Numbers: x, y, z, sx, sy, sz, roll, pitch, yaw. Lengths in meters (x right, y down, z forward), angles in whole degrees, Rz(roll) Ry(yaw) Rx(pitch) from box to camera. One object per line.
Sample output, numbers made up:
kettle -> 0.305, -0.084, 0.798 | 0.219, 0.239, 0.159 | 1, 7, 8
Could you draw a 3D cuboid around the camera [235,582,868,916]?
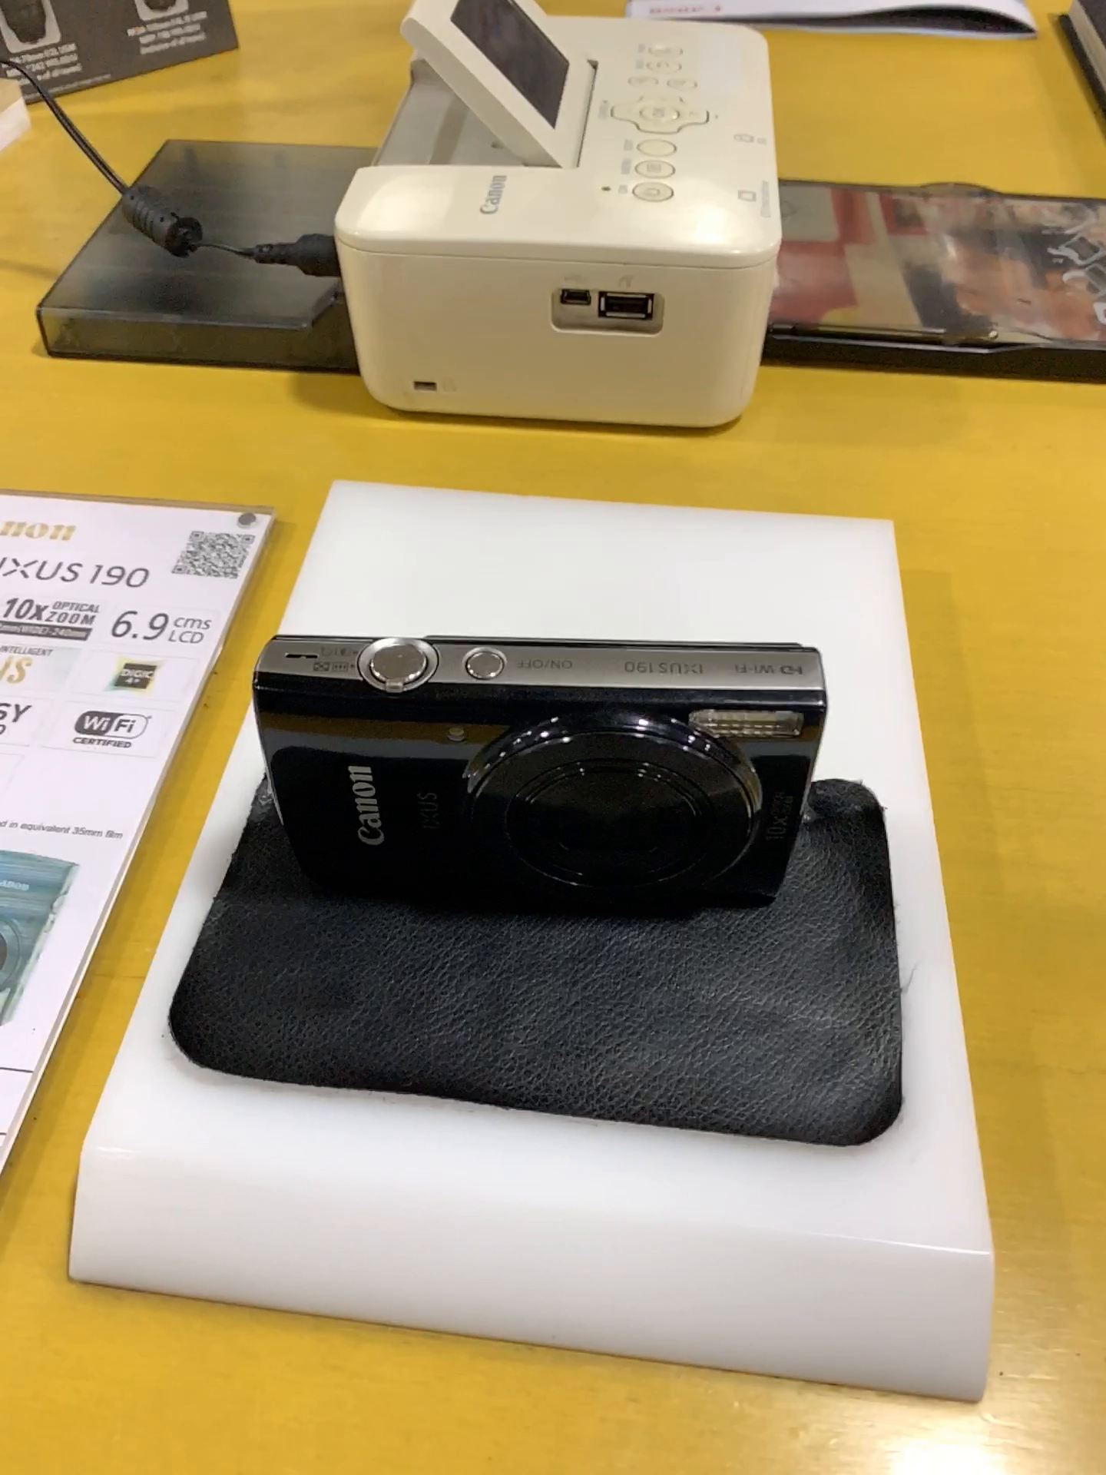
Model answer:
camera -> 0.000, 0.004, 0.192 | 0.090, 0.060, 0.020 | 1, 49, 1
